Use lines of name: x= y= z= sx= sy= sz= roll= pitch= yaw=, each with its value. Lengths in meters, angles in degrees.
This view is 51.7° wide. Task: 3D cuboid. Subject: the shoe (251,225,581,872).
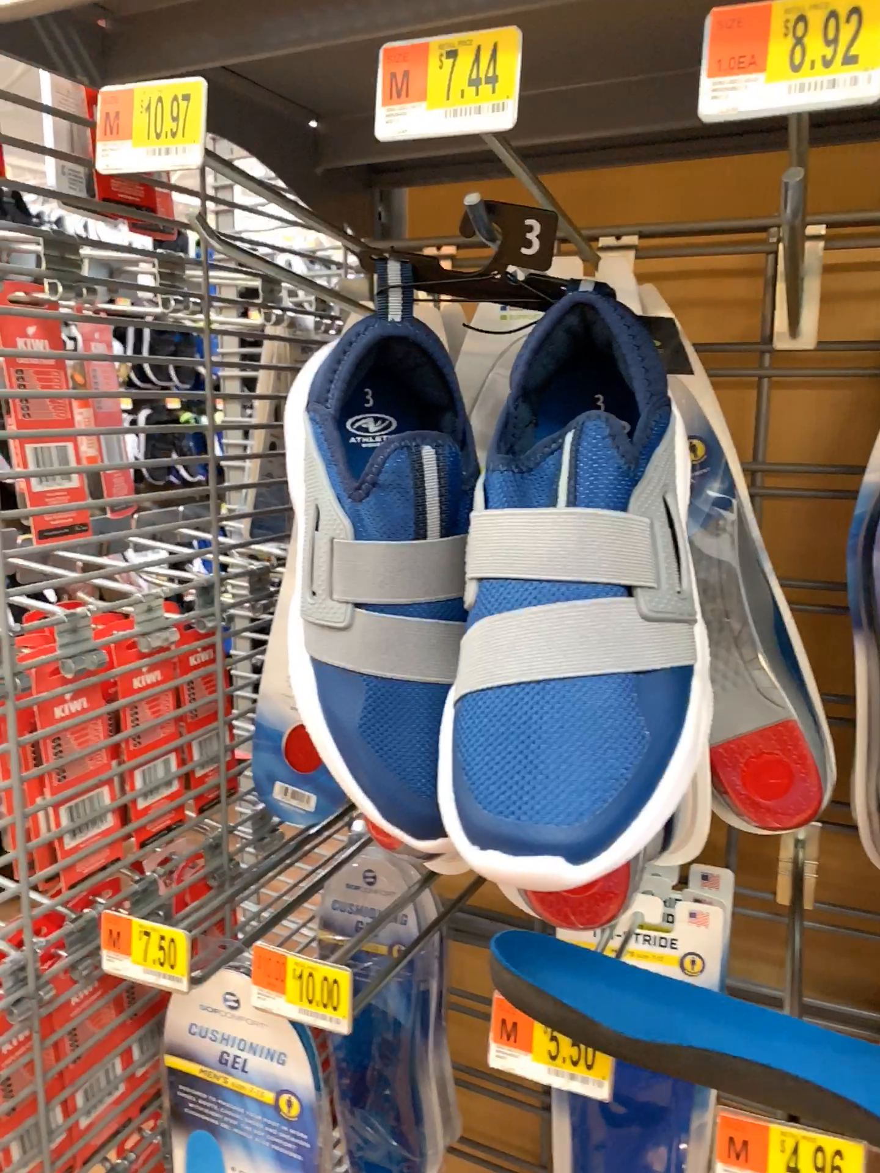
shoe: x=-0.022 y=-0.015 z=0.380 sx=0.095 sy=0.246 sz=0.098 roll=-4 pitch=-18 yaw=-12

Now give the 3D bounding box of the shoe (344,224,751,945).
shoe: x=0.054 y=-0.008 z=0.330 sx=0.101 sy=0.234 sz=0.098 roll=3 pitch=-28 yaw=17
